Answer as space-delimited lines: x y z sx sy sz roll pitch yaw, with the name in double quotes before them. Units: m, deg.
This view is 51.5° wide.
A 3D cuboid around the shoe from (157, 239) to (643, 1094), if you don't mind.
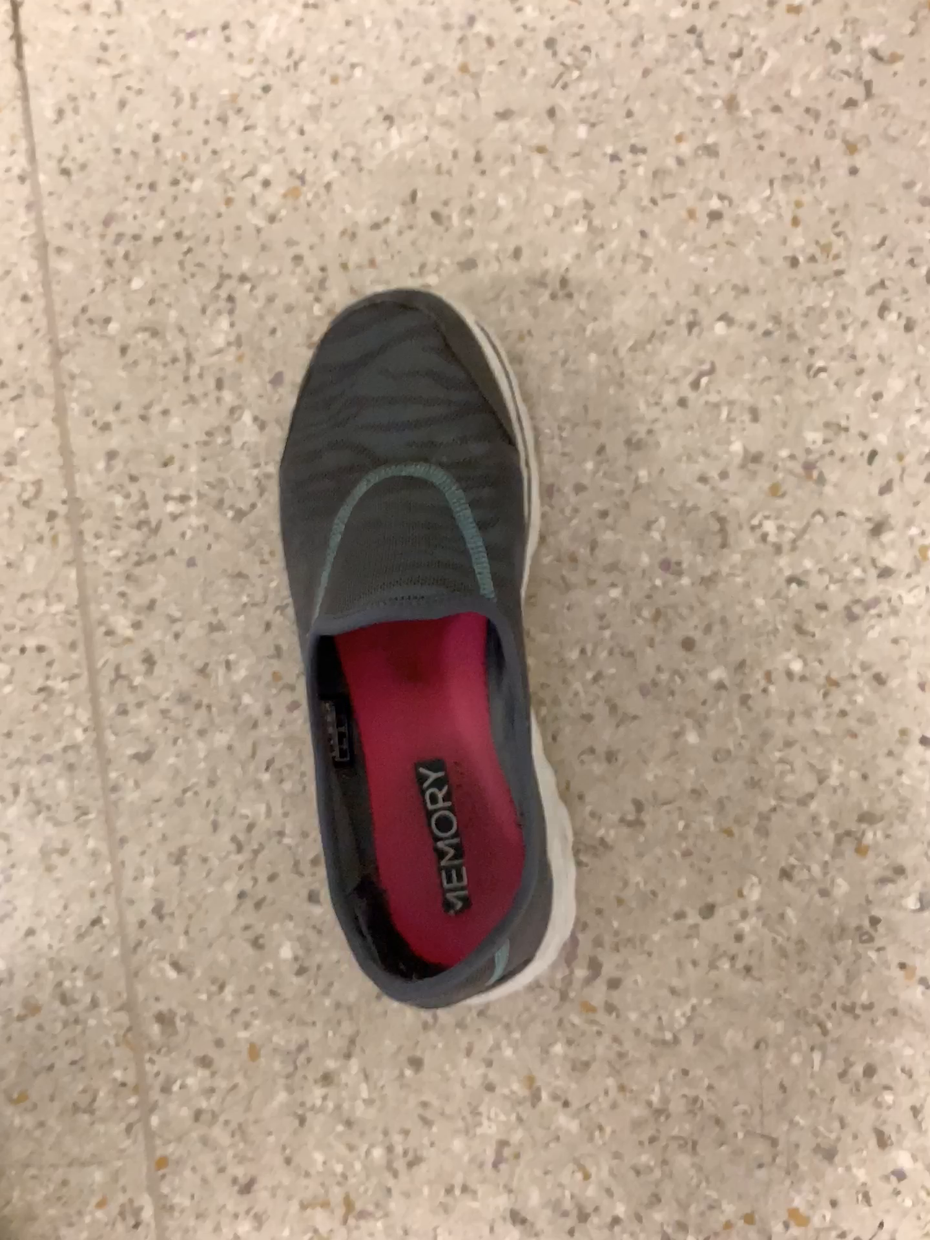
"shoe" -0.018 0.015 0.325 0.102 0.075 0.239 -13 85 12
